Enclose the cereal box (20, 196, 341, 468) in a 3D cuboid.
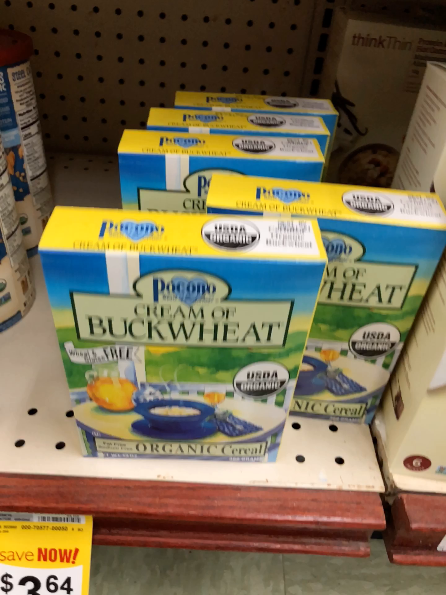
[{"bbox_3d":[-0.022,0.027,0.264,0.130,0.150,0.040,3,38,-3],"label":"cereal box"}]
